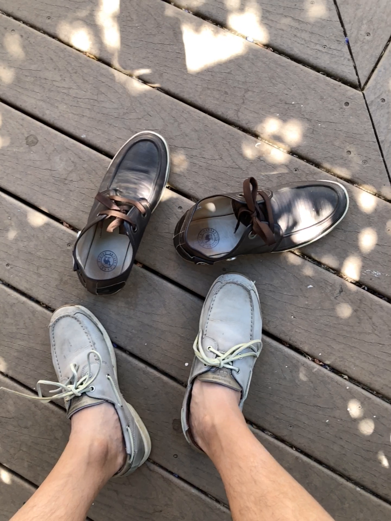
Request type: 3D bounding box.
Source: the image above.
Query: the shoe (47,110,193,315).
[{"bbox_3d":[-0.113,-0.070,0.662,0.109,0.069,0.278,24,94,5],"label":"shoe"}]

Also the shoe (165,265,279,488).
[{"bbox_3d":[0.040,0.161,0.647,0.109,0.101,0.292,10,91,5],"label":"shoe"}]

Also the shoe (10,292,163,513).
[{"bbox_3d":[-0.163,0.207,0.663,0.109,0.086,0.292,-23,88,5],"label":"shoe"}]

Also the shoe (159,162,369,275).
[{"bbox_3d":[0.097,-0.057,0.646,0.277,0.080,0.109,-10,89,6],"label":"shoe"}]
